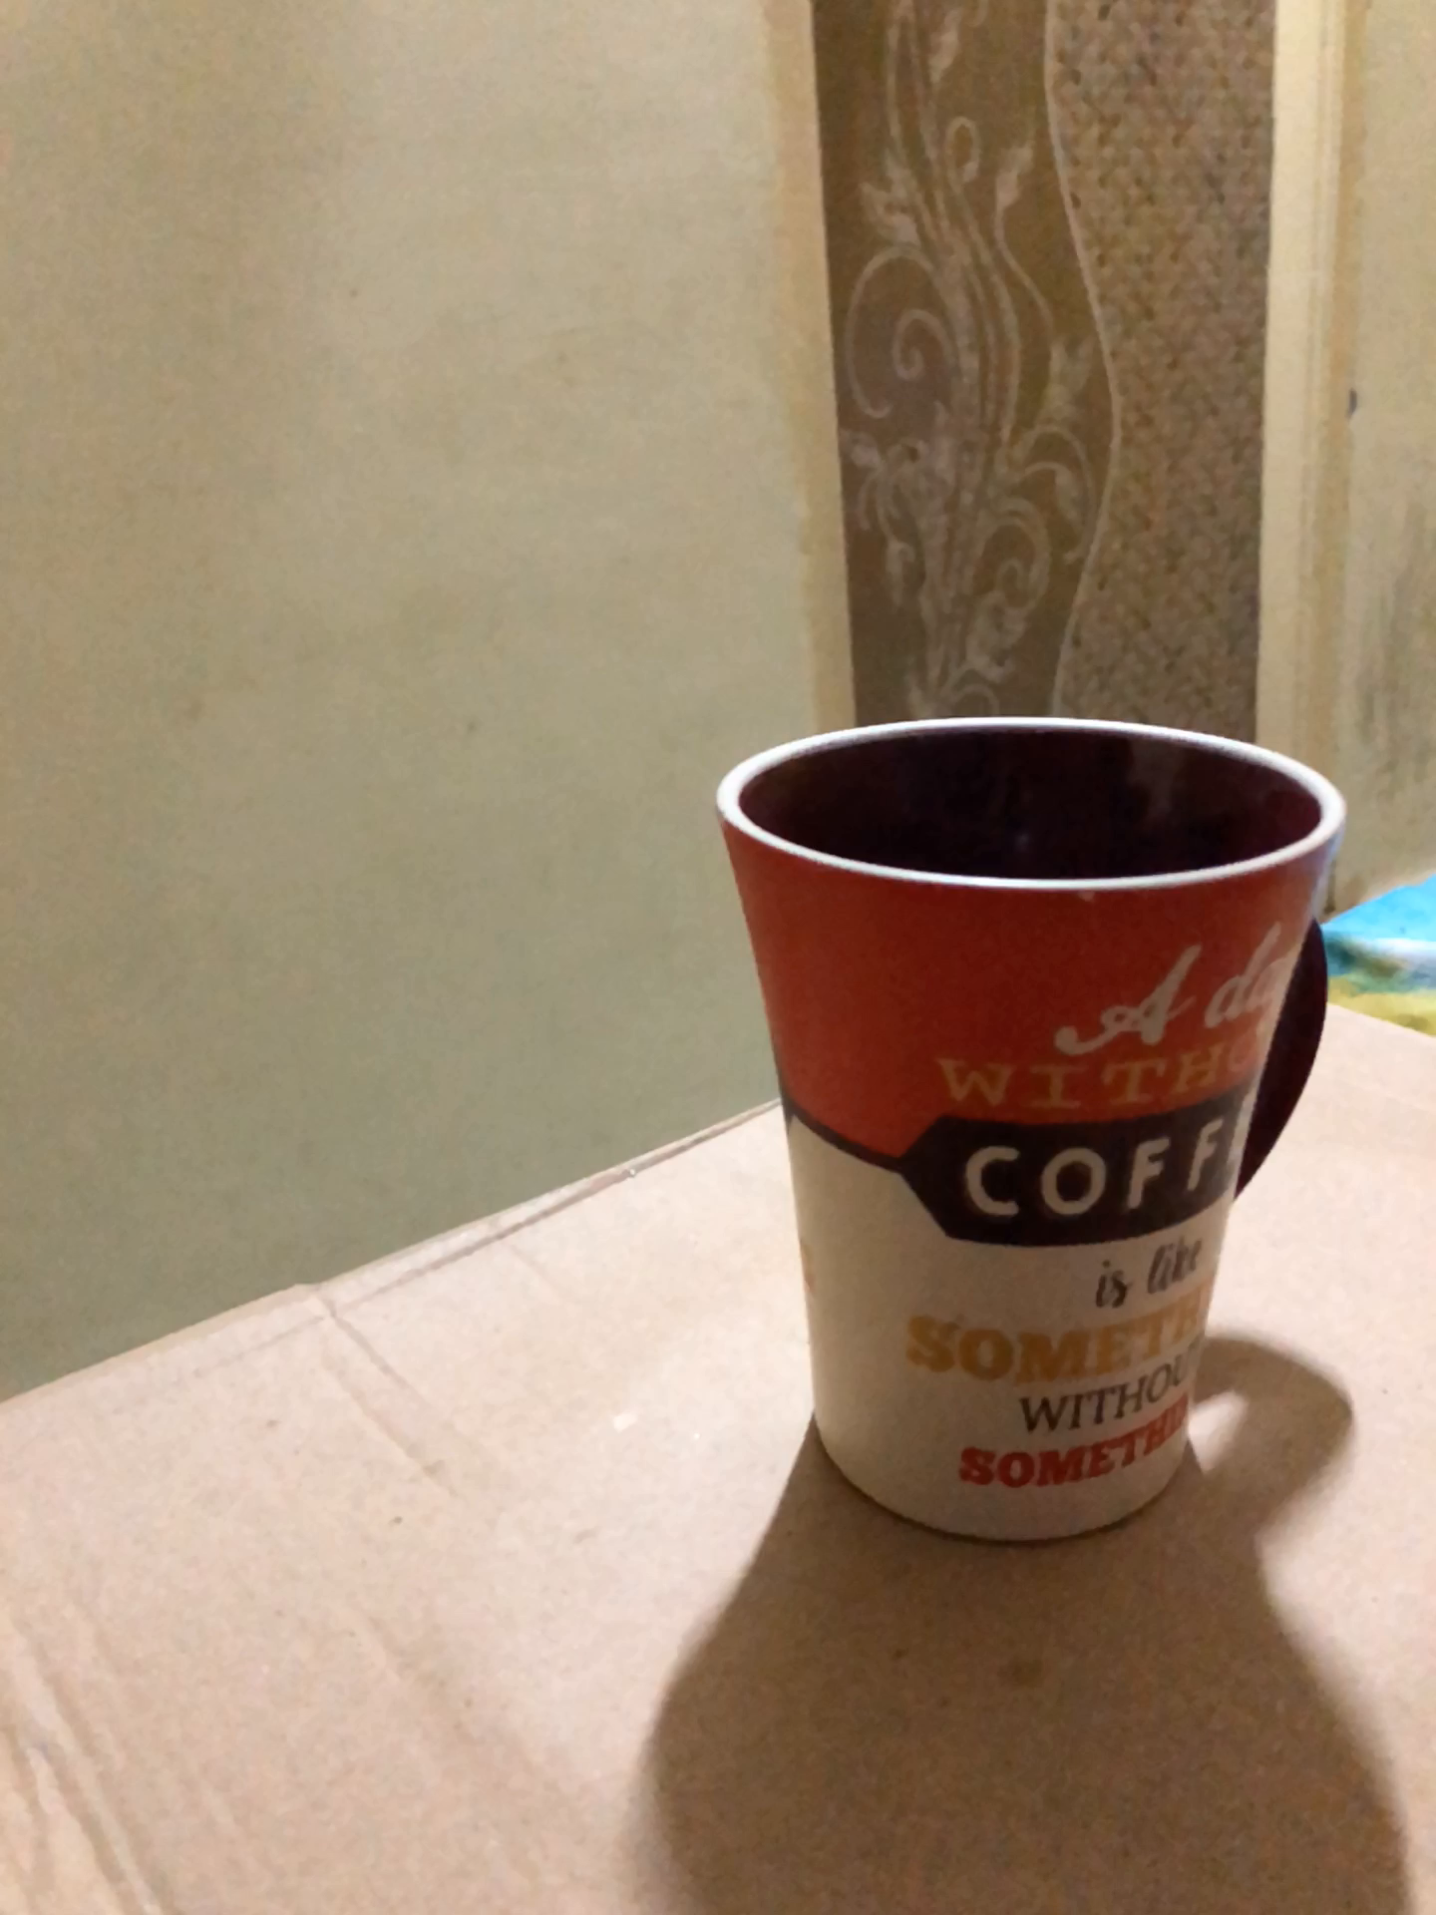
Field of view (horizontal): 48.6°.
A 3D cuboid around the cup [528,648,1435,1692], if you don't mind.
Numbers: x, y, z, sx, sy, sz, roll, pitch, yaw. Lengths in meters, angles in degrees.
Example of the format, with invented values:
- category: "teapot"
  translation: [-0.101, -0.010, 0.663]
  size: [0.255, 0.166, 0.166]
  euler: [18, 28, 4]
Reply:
- category: "cup"
  translation: [0.056, 0.018, 0.268]
  size: [0.130, 0.109, 0.100]
  euler: [-18, 24, -32]
